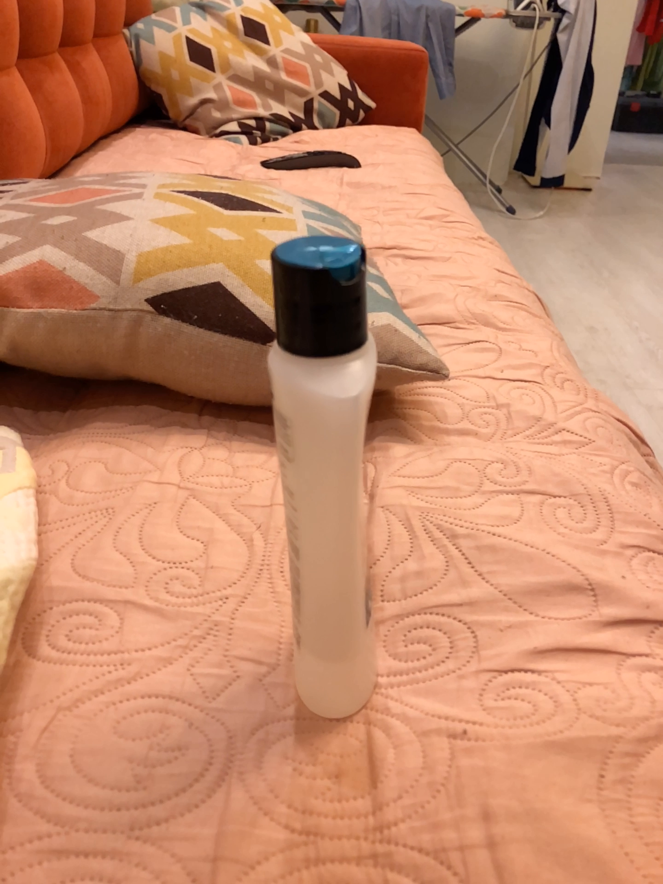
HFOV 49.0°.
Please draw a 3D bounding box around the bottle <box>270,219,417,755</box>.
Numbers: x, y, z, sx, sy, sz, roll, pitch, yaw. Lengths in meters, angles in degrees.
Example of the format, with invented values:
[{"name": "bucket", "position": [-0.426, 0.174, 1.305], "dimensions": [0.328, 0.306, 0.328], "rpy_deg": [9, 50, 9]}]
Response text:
[{"name": "bottle", "position": [0.004, 0.024, 0.279], "dimensions": [0.040, 0.199, 0.071], "rpy_deg": [0, 30, 1]}]
